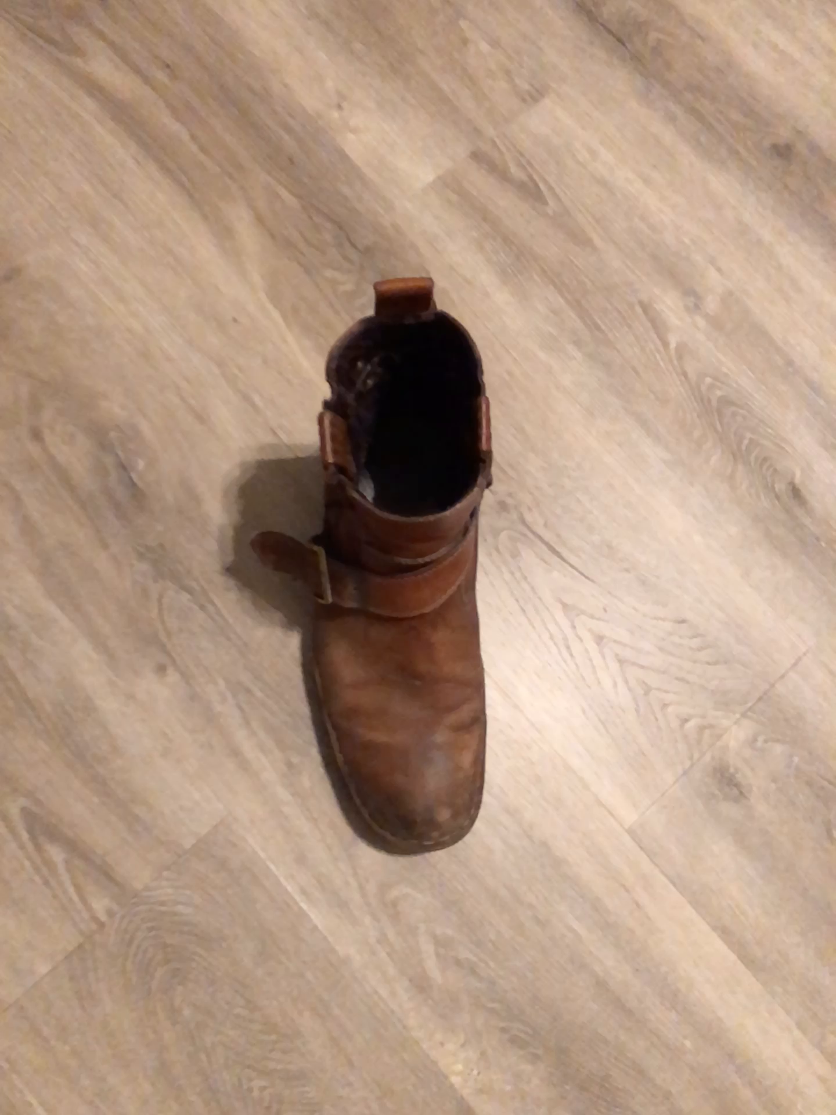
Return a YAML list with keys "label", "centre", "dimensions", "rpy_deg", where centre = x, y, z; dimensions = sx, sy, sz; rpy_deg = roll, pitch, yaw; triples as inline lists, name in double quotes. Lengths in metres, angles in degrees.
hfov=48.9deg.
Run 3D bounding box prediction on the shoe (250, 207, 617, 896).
- label: "shoe"
  centre: [-0.009, 0.007, 0.487]
  dimensions: [0.130, 0.210, 0.290]
  rpy_deg: [-3, 77, -7]
